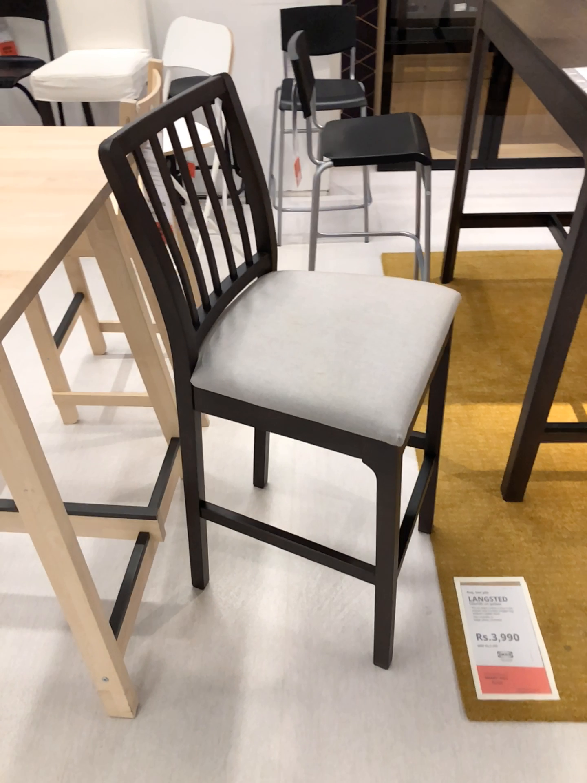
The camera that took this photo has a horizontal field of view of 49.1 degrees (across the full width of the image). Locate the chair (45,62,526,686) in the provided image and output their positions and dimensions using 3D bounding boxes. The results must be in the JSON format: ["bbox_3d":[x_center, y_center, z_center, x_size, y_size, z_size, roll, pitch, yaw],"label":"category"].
[{"bbox_3d":[0.037,0.015,1.295,0.561,1.093,0.483,14,43,18],"label":"chair"}]
